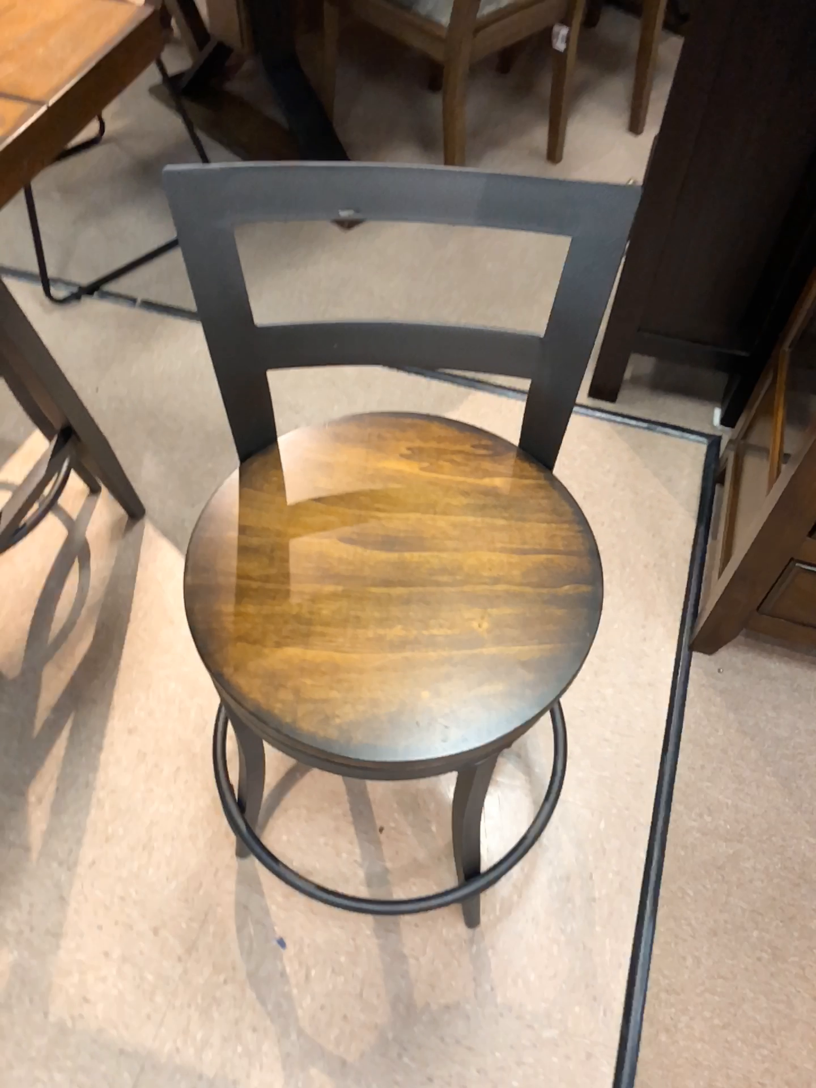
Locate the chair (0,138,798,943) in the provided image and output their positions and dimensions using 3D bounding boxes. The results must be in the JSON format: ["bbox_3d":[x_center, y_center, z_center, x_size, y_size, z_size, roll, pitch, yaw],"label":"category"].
[{"bbox_3d":[-0.030,0.083,0.963,0.490,0.806,0.462,3,54,0],"label":"chair"}]
